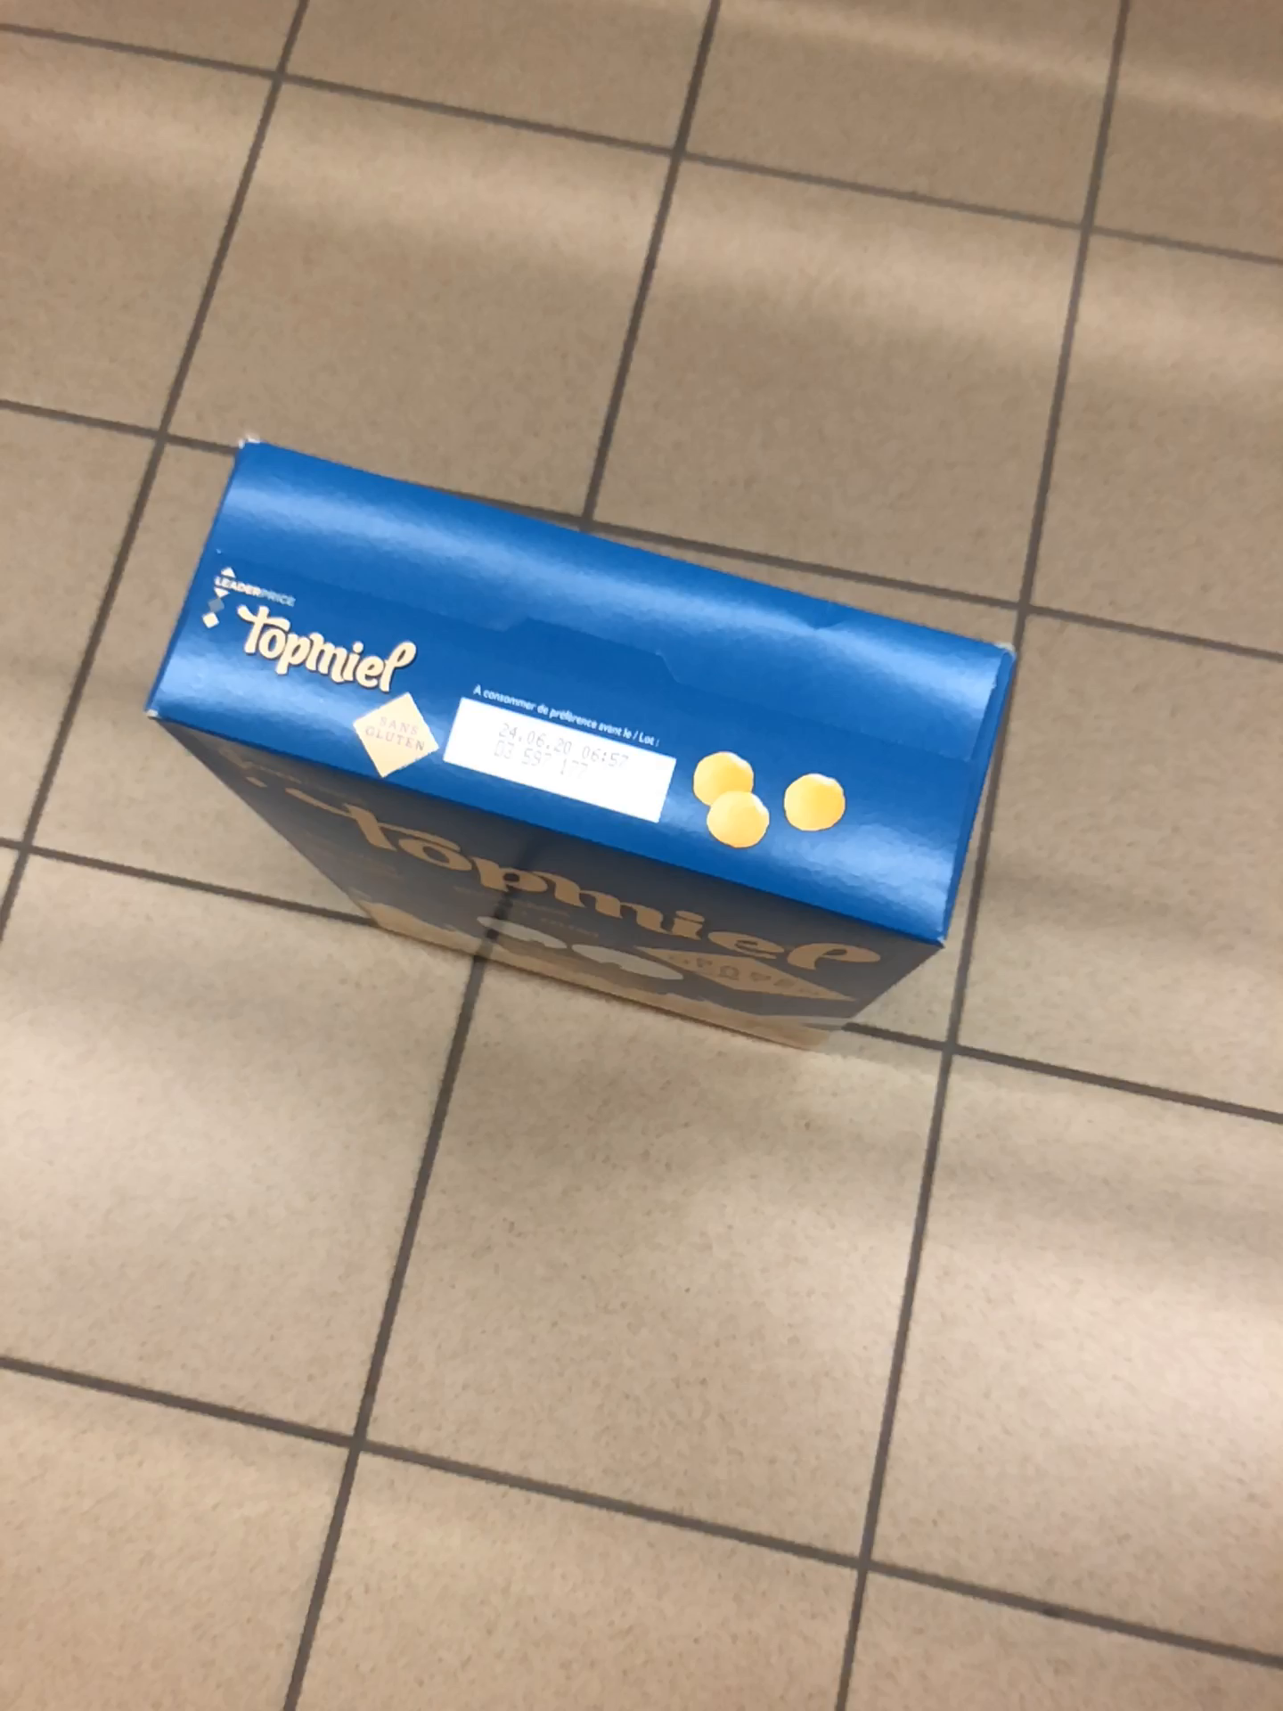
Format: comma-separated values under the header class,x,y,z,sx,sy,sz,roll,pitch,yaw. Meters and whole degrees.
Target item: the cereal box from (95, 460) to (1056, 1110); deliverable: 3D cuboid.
class,x,y,z,sx,sy,sz,roll,pitch,yaw
cereal box,-0.013,0.005,0.451,0.200,0.280,0.080,14,75,4
